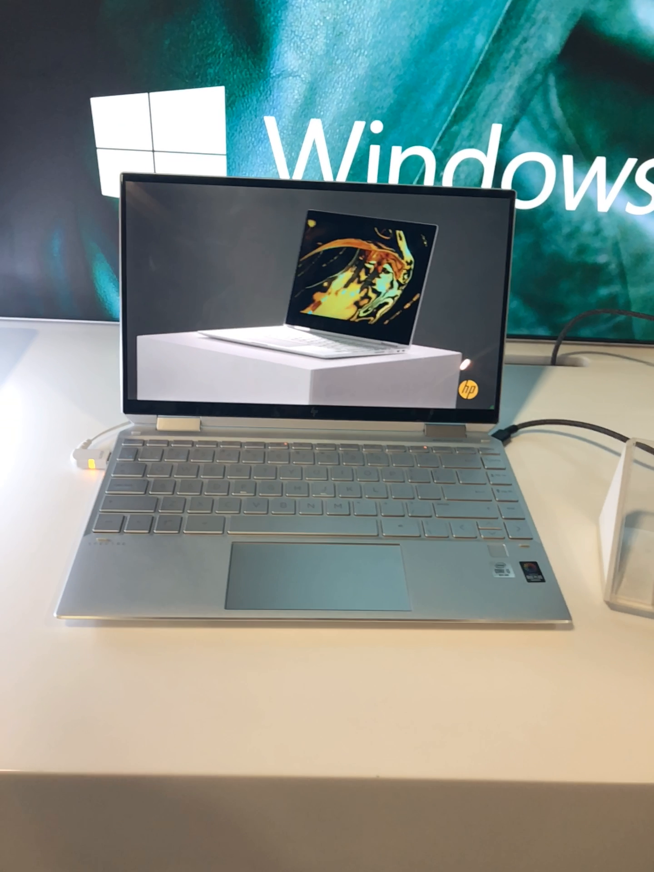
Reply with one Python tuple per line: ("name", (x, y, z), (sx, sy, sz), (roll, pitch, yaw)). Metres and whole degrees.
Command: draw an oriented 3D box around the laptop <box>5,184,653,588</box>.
("laptop", (-0.007, -0.045, 0.477), (0.281, 0.194, 0.241), (2, 28, -4))
